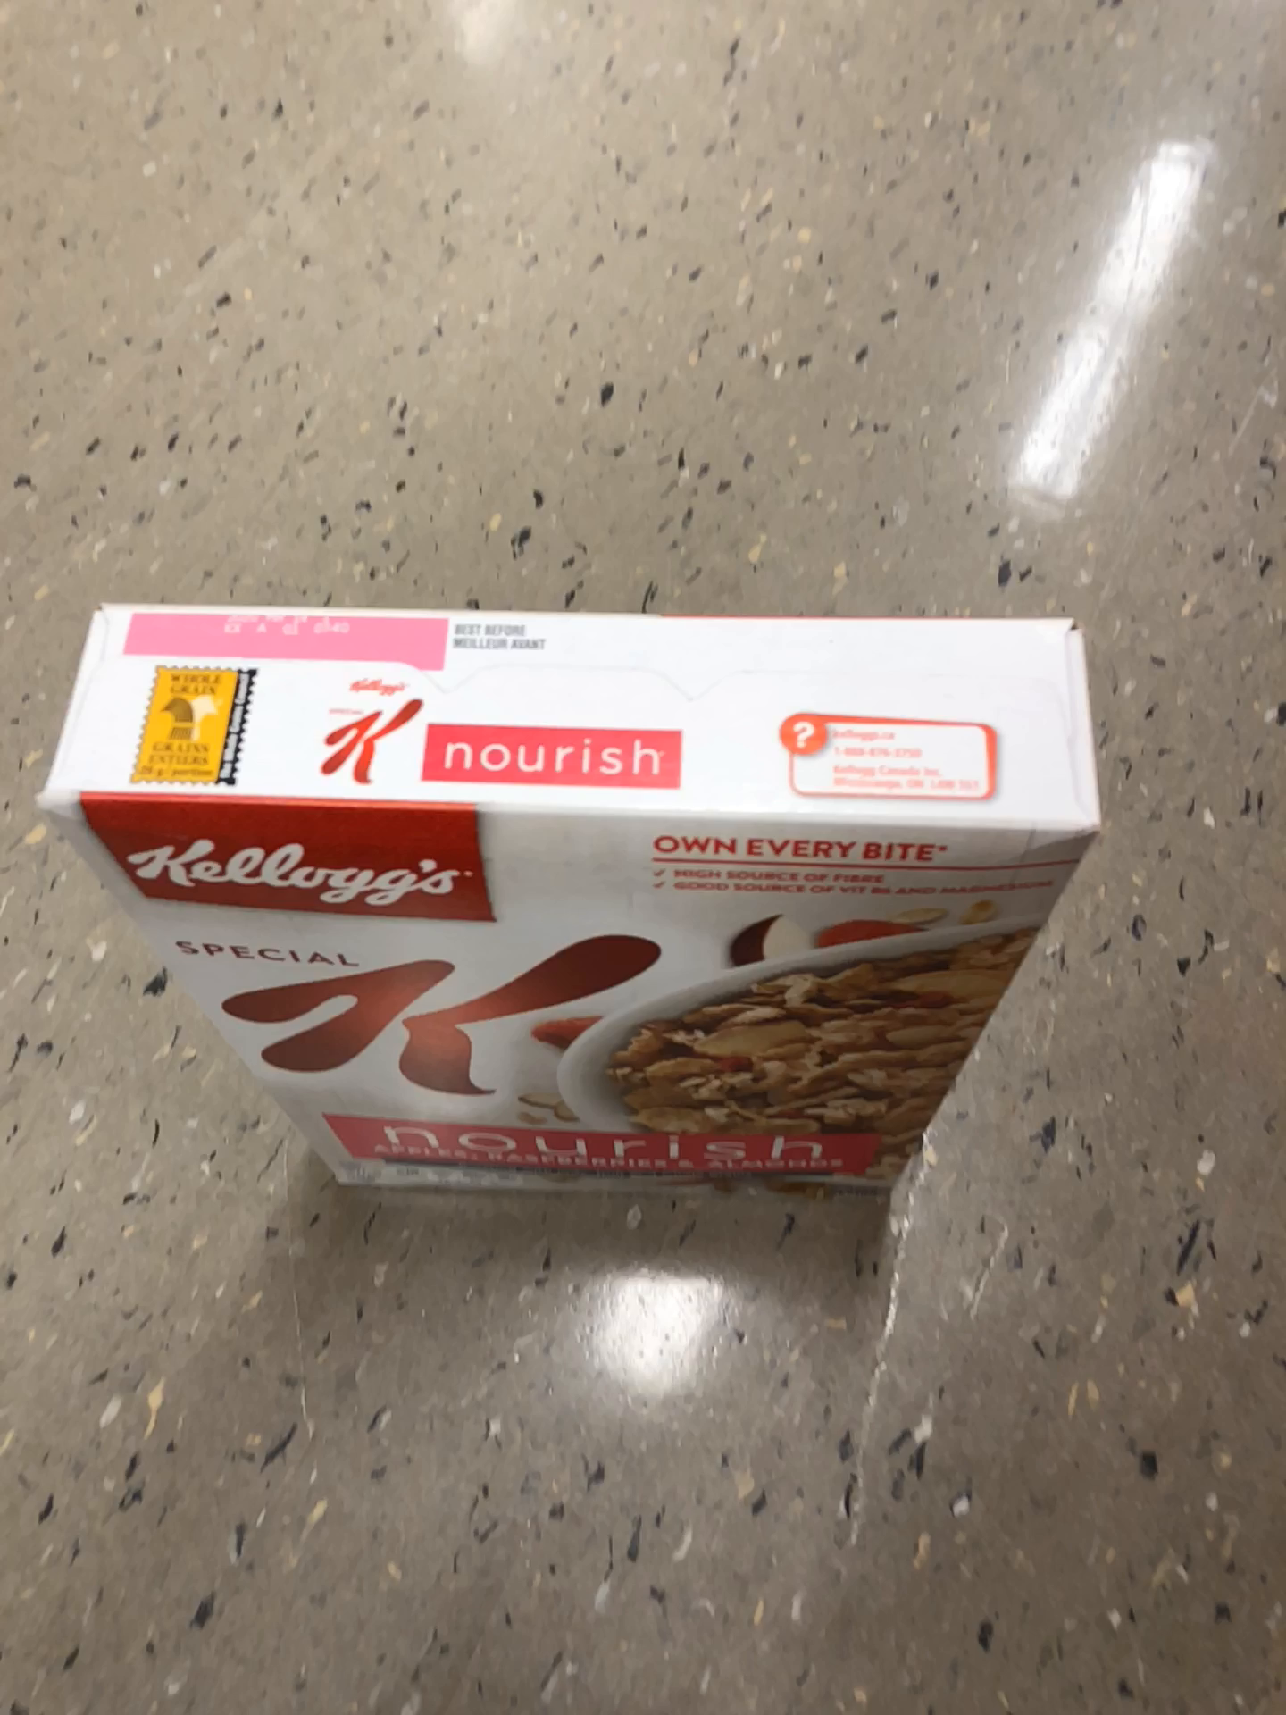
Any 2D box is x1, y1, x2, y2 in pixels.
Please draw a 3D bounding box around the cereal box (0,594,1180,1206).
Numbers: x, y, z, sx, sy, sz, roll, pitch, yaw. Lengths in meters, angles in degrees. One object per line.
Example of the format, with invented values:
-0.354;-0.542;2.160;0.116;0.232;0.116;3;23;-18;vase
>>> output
-0.008;0.037;0.391;0.210;0.290;0.050;1;64;2;cereal box
